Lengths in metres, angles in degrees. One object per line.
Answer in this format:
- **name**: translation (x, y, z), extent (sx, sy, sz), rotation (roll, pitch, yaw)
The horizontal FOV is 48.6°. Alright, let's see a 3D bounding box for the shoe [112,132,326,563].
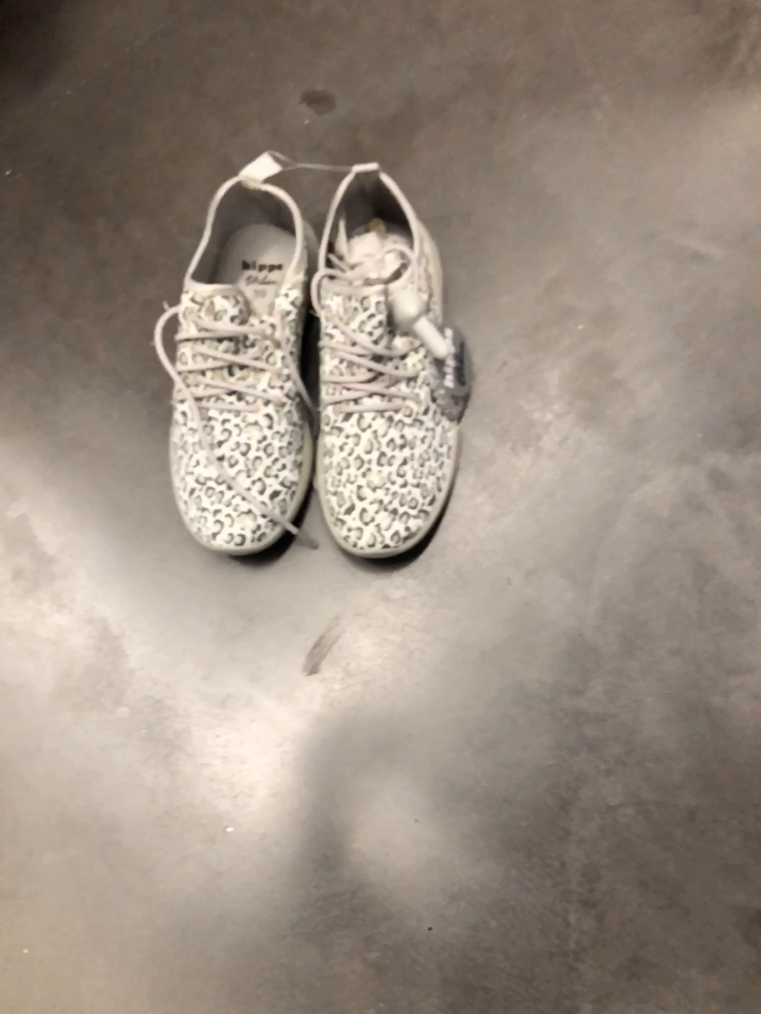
- **shoe**: translation (-0.093, -0.097, 0.537), extent (0.100, 0.100, 0.250), rotation (-1, 75, 3)

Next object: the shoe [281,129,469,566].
- **shoe**: translation (0.000, -0.096, 0.528), extent (0.100, 0.100, 0.250), rotation (-1, 75, 3)
